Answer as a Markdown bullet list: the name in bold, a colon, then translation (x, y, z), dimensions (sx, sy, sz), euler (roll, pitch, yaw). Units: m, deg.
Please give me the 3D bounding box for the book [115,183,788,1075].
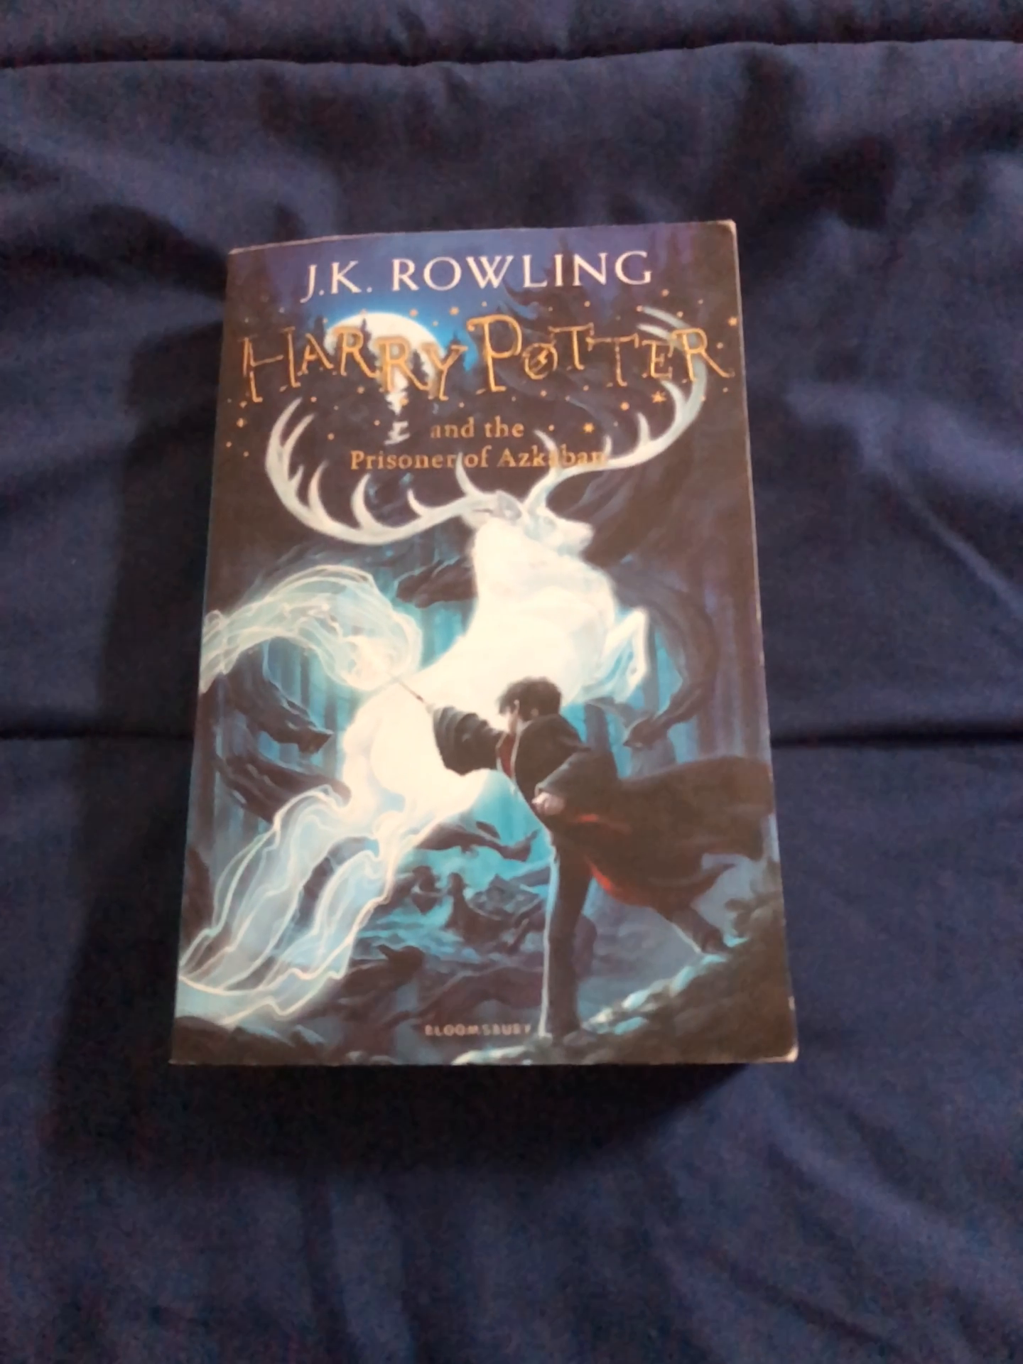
- **book**: translation (-0.011, -0.015, 0.269), dimensions (0.134, 0.045, 0.200), euler (-1, 76, 4)
